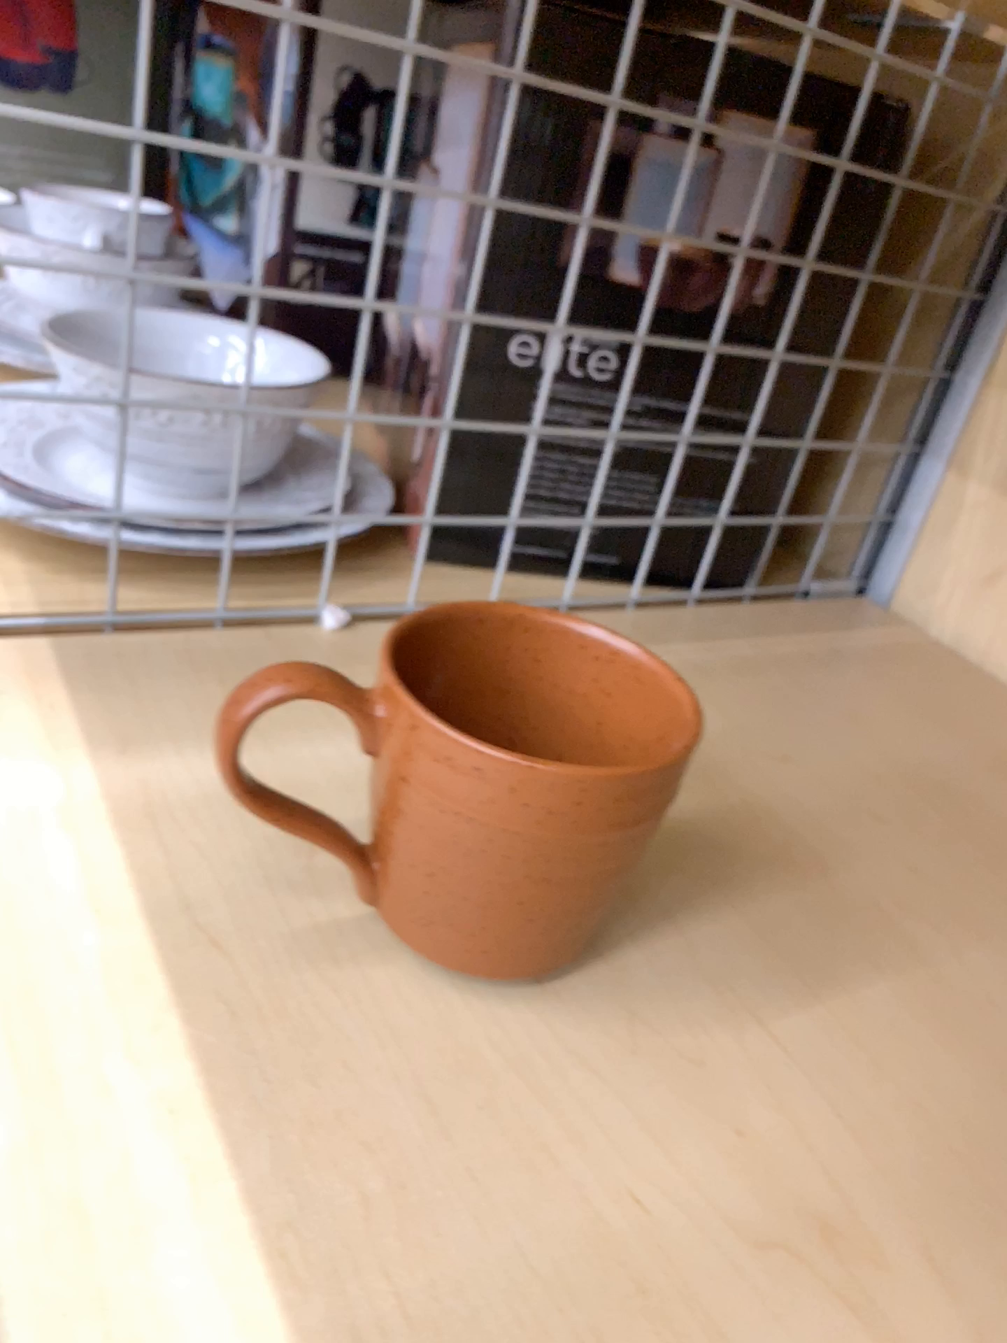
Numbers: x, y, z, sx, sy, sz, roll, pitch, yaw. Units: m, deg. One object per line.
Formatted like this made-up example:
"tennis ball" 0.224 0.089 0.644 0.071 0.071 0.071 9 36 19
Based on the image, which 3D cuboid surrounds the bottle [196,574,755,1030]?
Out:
"bottle" -0.018 0.037 0.334 0.140 0.090 0.100 3 29 -21
